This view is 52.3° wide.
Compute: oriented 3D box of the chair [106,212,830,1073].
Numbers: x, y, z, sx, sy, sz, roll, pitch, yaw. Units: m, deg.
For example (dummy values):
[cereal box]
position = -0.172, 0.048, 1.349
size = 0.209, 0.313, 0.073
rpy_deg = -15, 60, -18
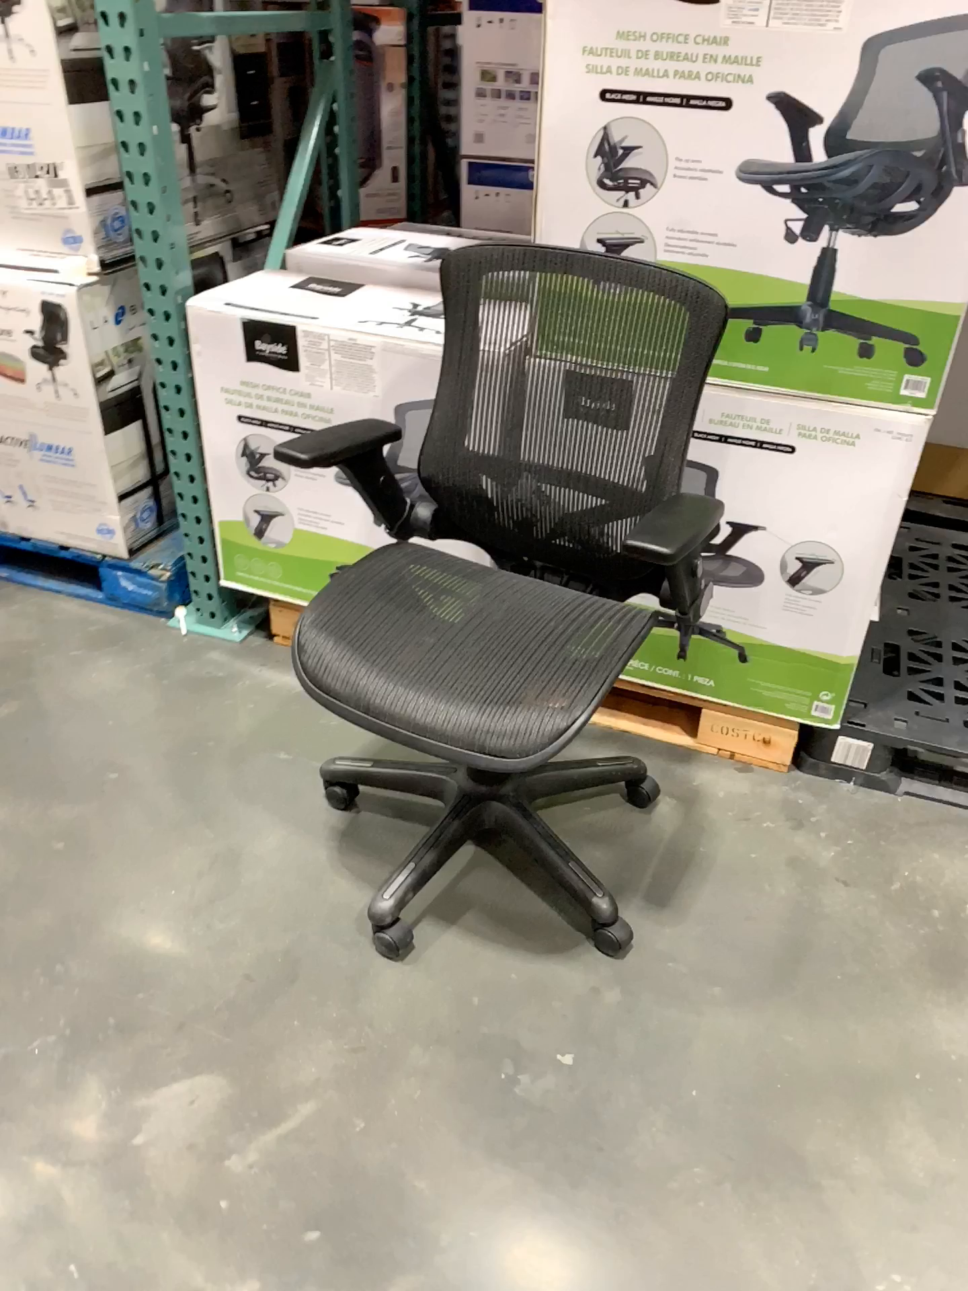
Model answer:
[chair]
position = 0.015, -0.064, 1.566
size = 0.676, 0.987, 0.738
rpy_deg = 18, 37, 23
